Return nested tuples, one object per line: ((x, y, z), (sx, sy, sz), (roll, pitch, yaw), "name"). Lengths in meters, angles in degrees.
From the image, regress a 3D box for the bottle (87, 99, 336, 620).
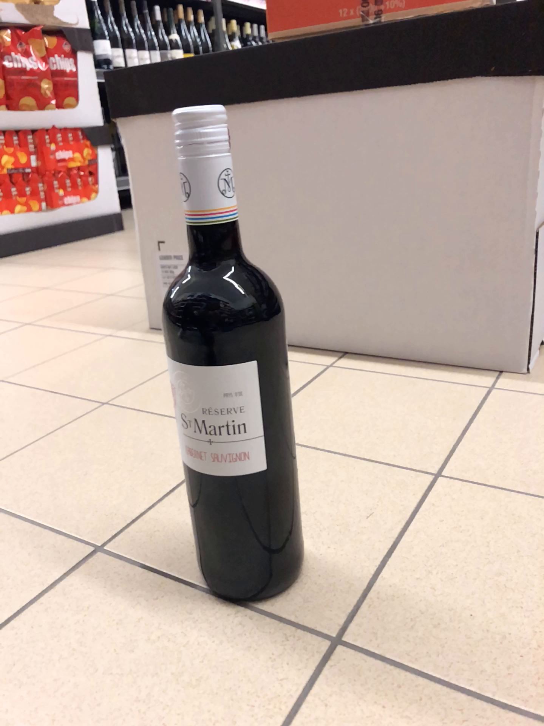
((-0.025, 0.000, 0.367), (0.090, 0.289, 0.080), (7, 23, 29), "bottle")
